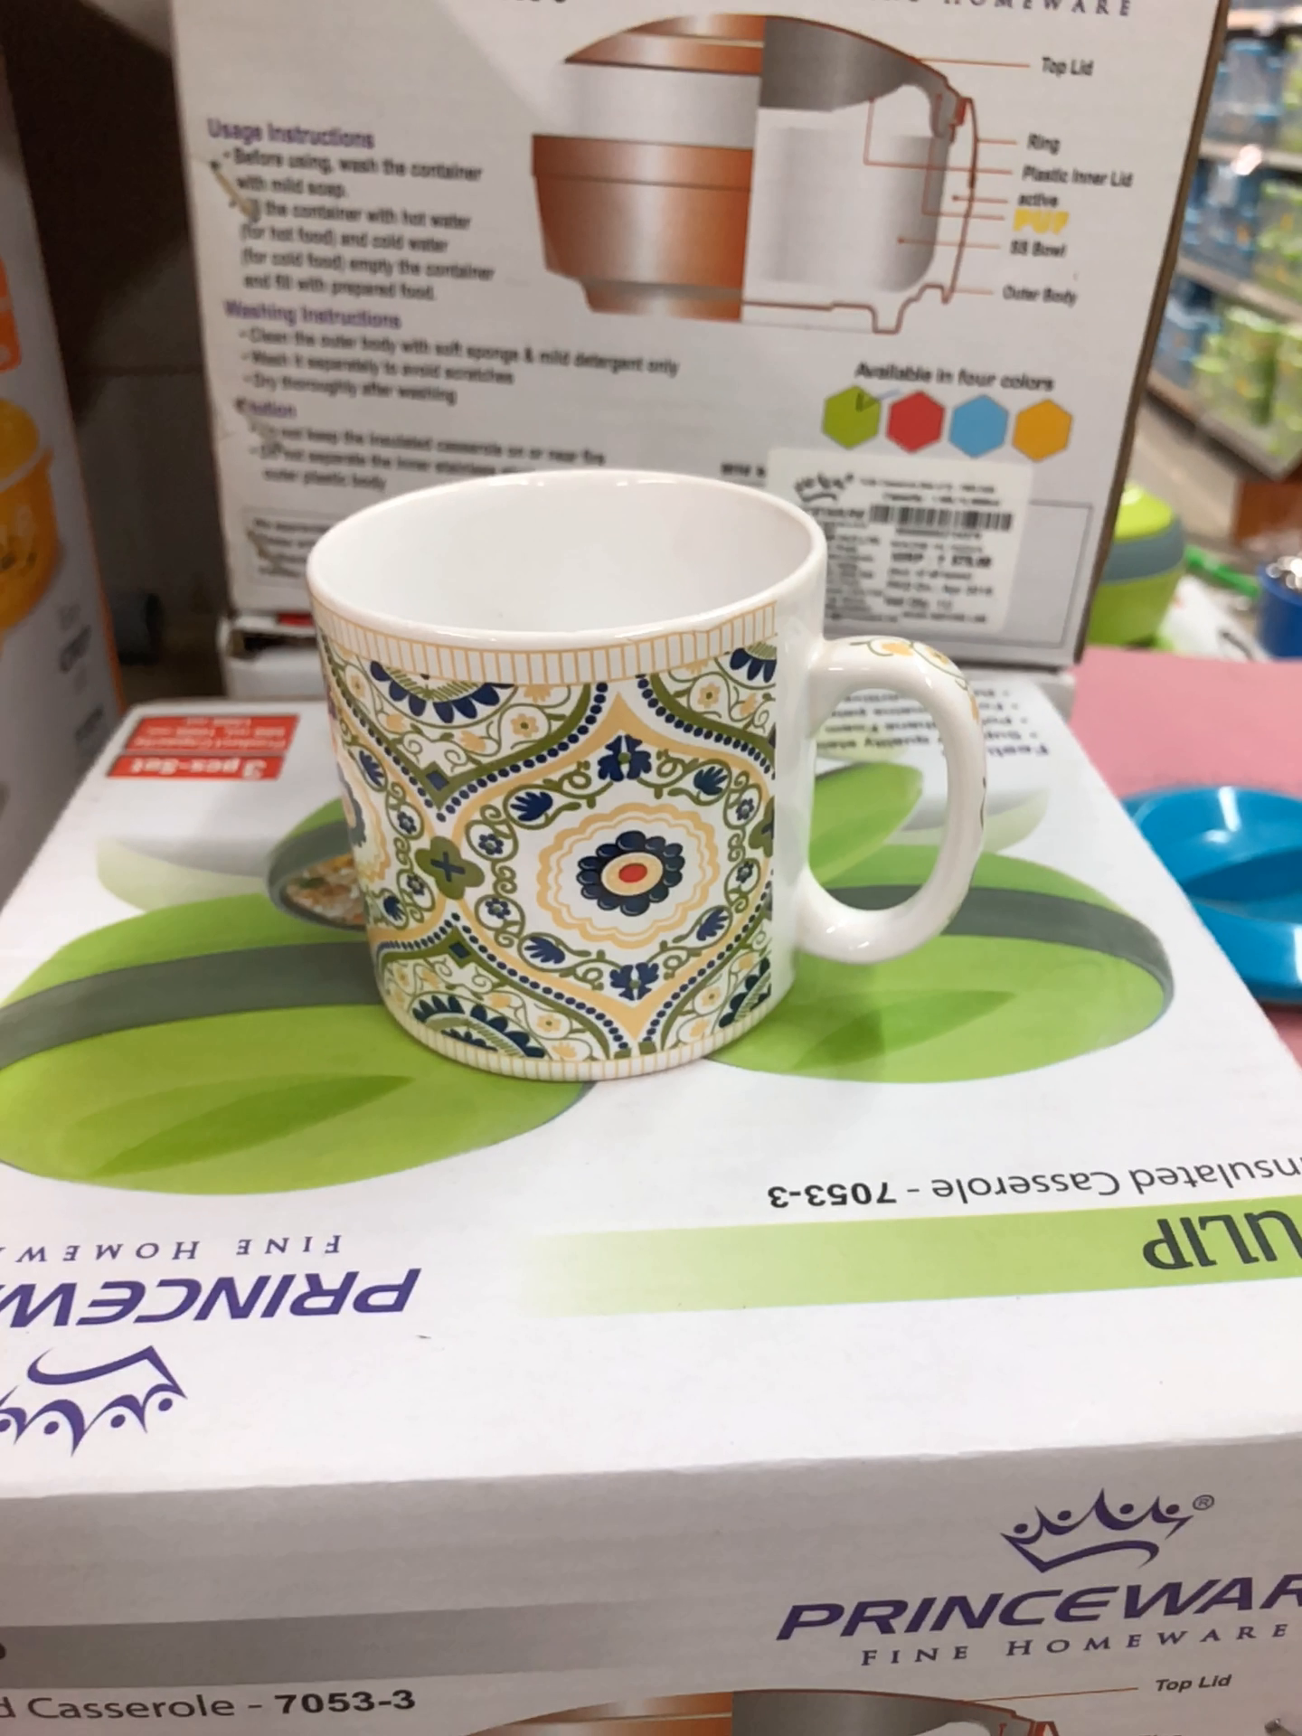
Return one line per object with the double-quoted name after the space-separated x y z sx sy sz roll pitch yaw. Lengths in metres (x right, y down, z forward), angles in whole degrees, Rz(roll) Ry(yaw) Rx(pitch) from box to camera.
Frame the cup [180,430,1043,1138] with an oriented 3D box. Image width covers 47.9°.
0.001 -0.019 0.230 0.110 0.079 0.070 6 29 13 "cup"
